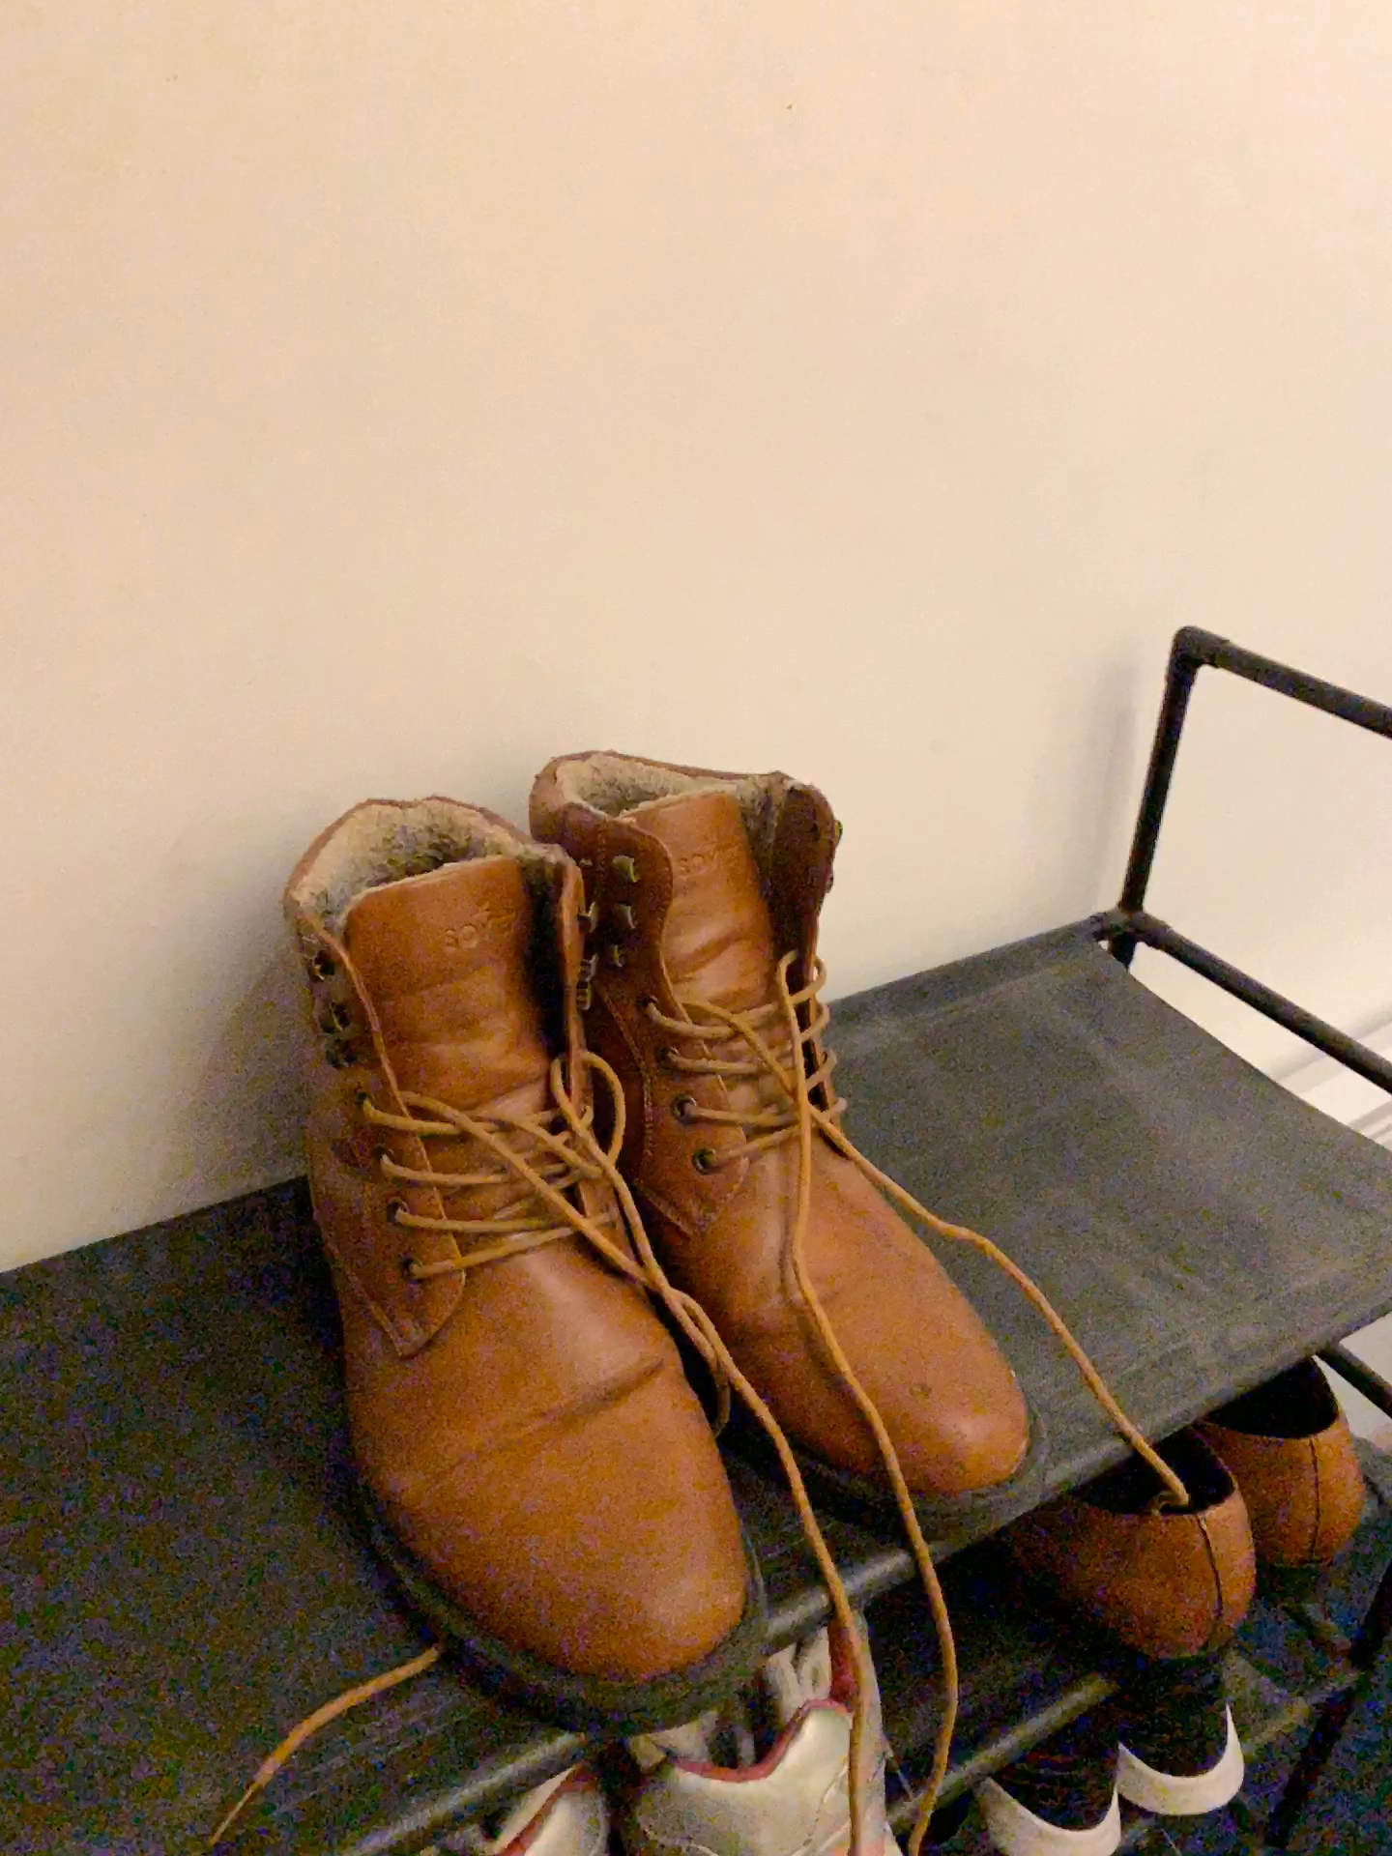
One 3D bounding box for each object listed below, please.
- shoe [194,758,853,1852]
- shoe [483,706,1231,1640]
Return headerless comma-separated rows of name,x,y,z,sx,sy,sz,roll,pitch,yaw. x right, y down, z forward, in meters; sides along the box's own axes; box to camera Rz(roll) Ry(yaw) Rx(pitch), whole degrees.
shoe,-0.073,0.093,0.471,0.110,0.198,0.272,-12,32,-23
shoe,0.033,0.064,0.500,0.110,0.198,0.241,-16,34,-29
